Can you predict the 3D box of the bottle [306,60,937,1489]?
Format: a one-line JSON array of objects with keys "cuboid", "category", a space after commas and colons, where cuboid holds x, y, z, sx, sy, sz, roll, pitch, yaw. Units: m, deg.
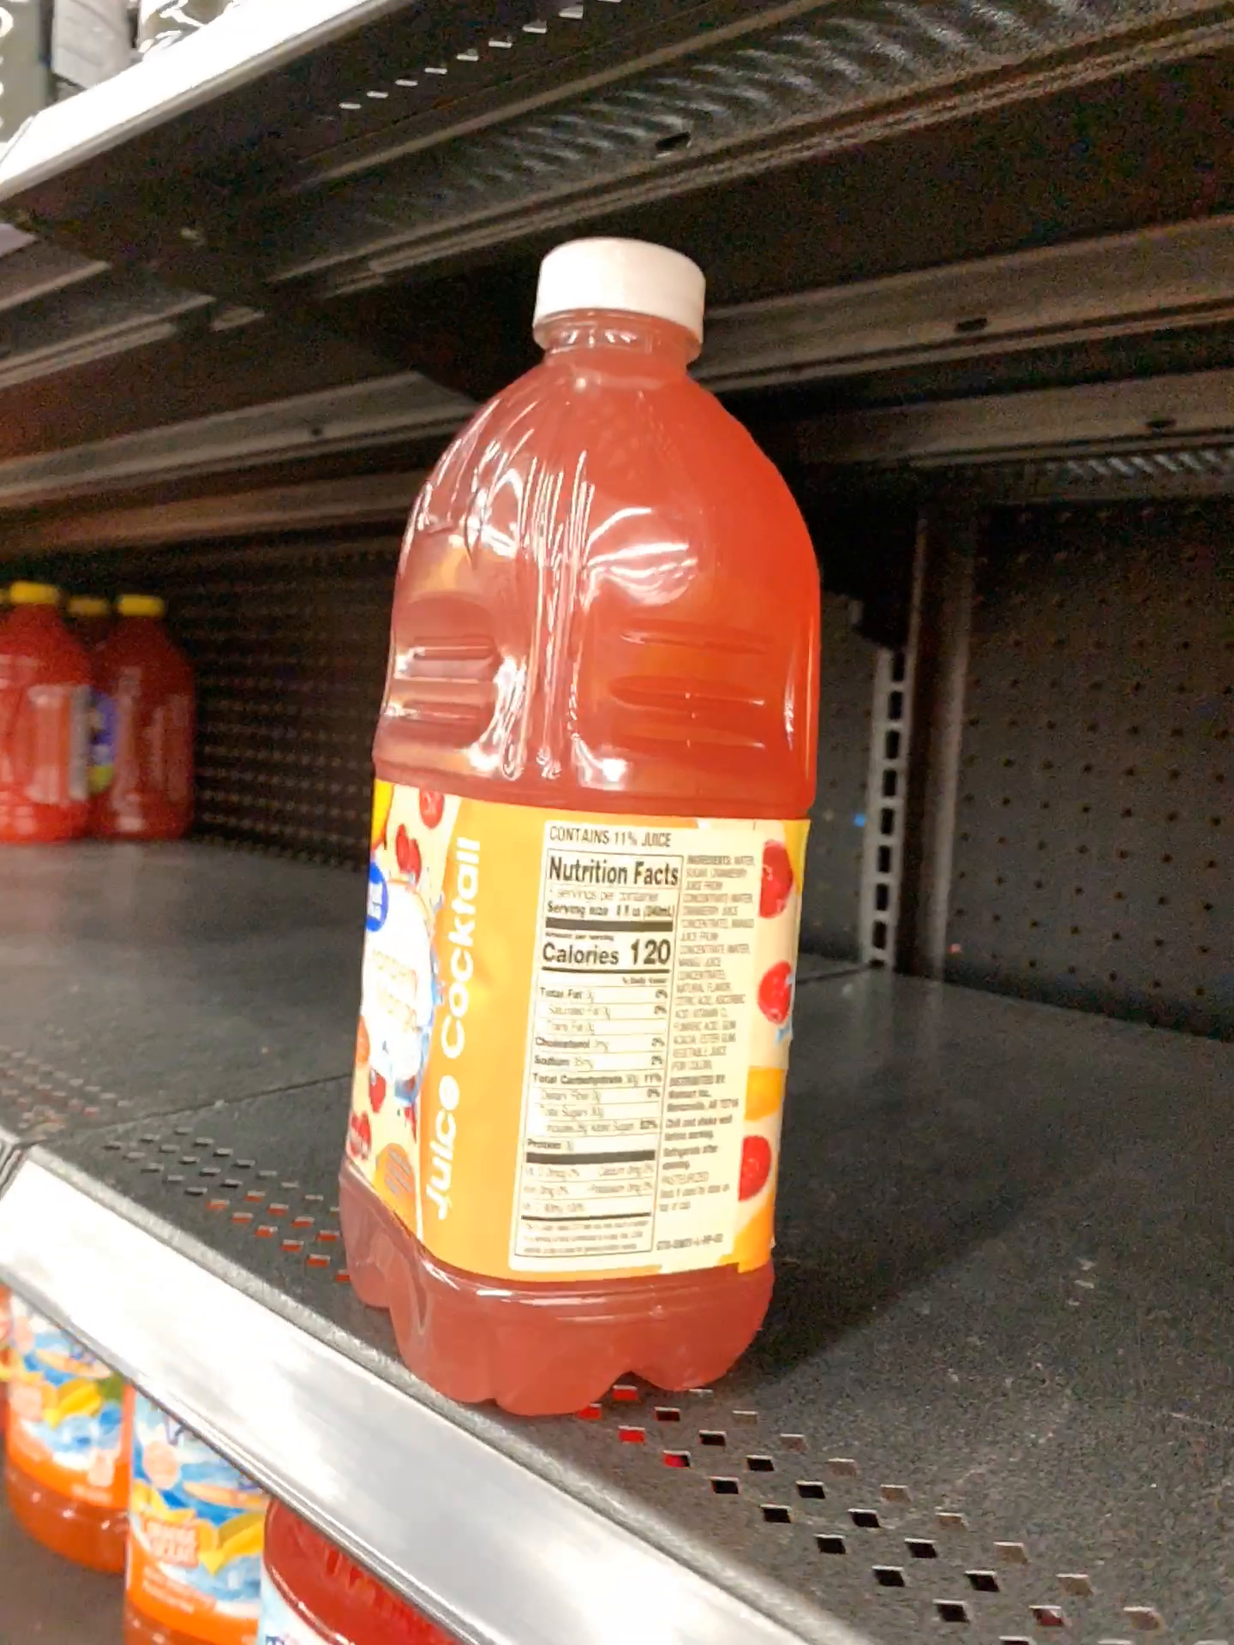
[{"cuboid": [-0.009, -0.009, 0.320, 0.101, 0.272, 0.119, 1, 5, -26], "category": "bottle"}]
